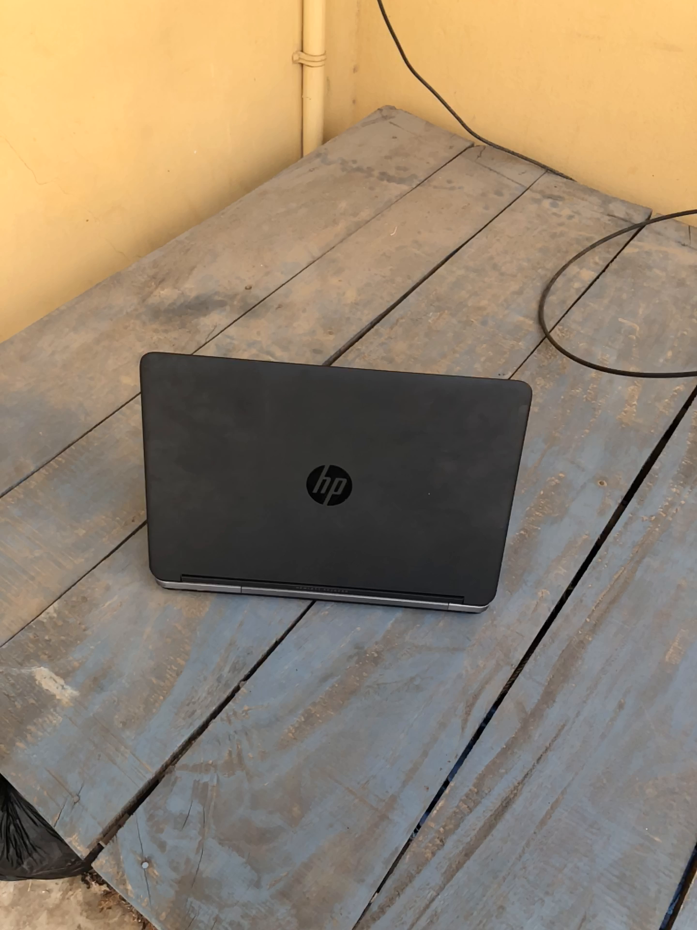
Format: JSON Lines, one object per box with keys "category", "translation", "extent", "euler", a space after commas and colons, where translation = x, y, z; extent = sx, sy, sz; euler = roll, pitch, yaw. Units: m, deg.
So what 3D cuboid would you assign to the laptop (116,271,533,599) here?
{"category": "laptop", "translation": [-0.014, -0.028, 0.722], "extent": [0.316, 0.196, 0.211], "euler": [4, 50, 1]}
